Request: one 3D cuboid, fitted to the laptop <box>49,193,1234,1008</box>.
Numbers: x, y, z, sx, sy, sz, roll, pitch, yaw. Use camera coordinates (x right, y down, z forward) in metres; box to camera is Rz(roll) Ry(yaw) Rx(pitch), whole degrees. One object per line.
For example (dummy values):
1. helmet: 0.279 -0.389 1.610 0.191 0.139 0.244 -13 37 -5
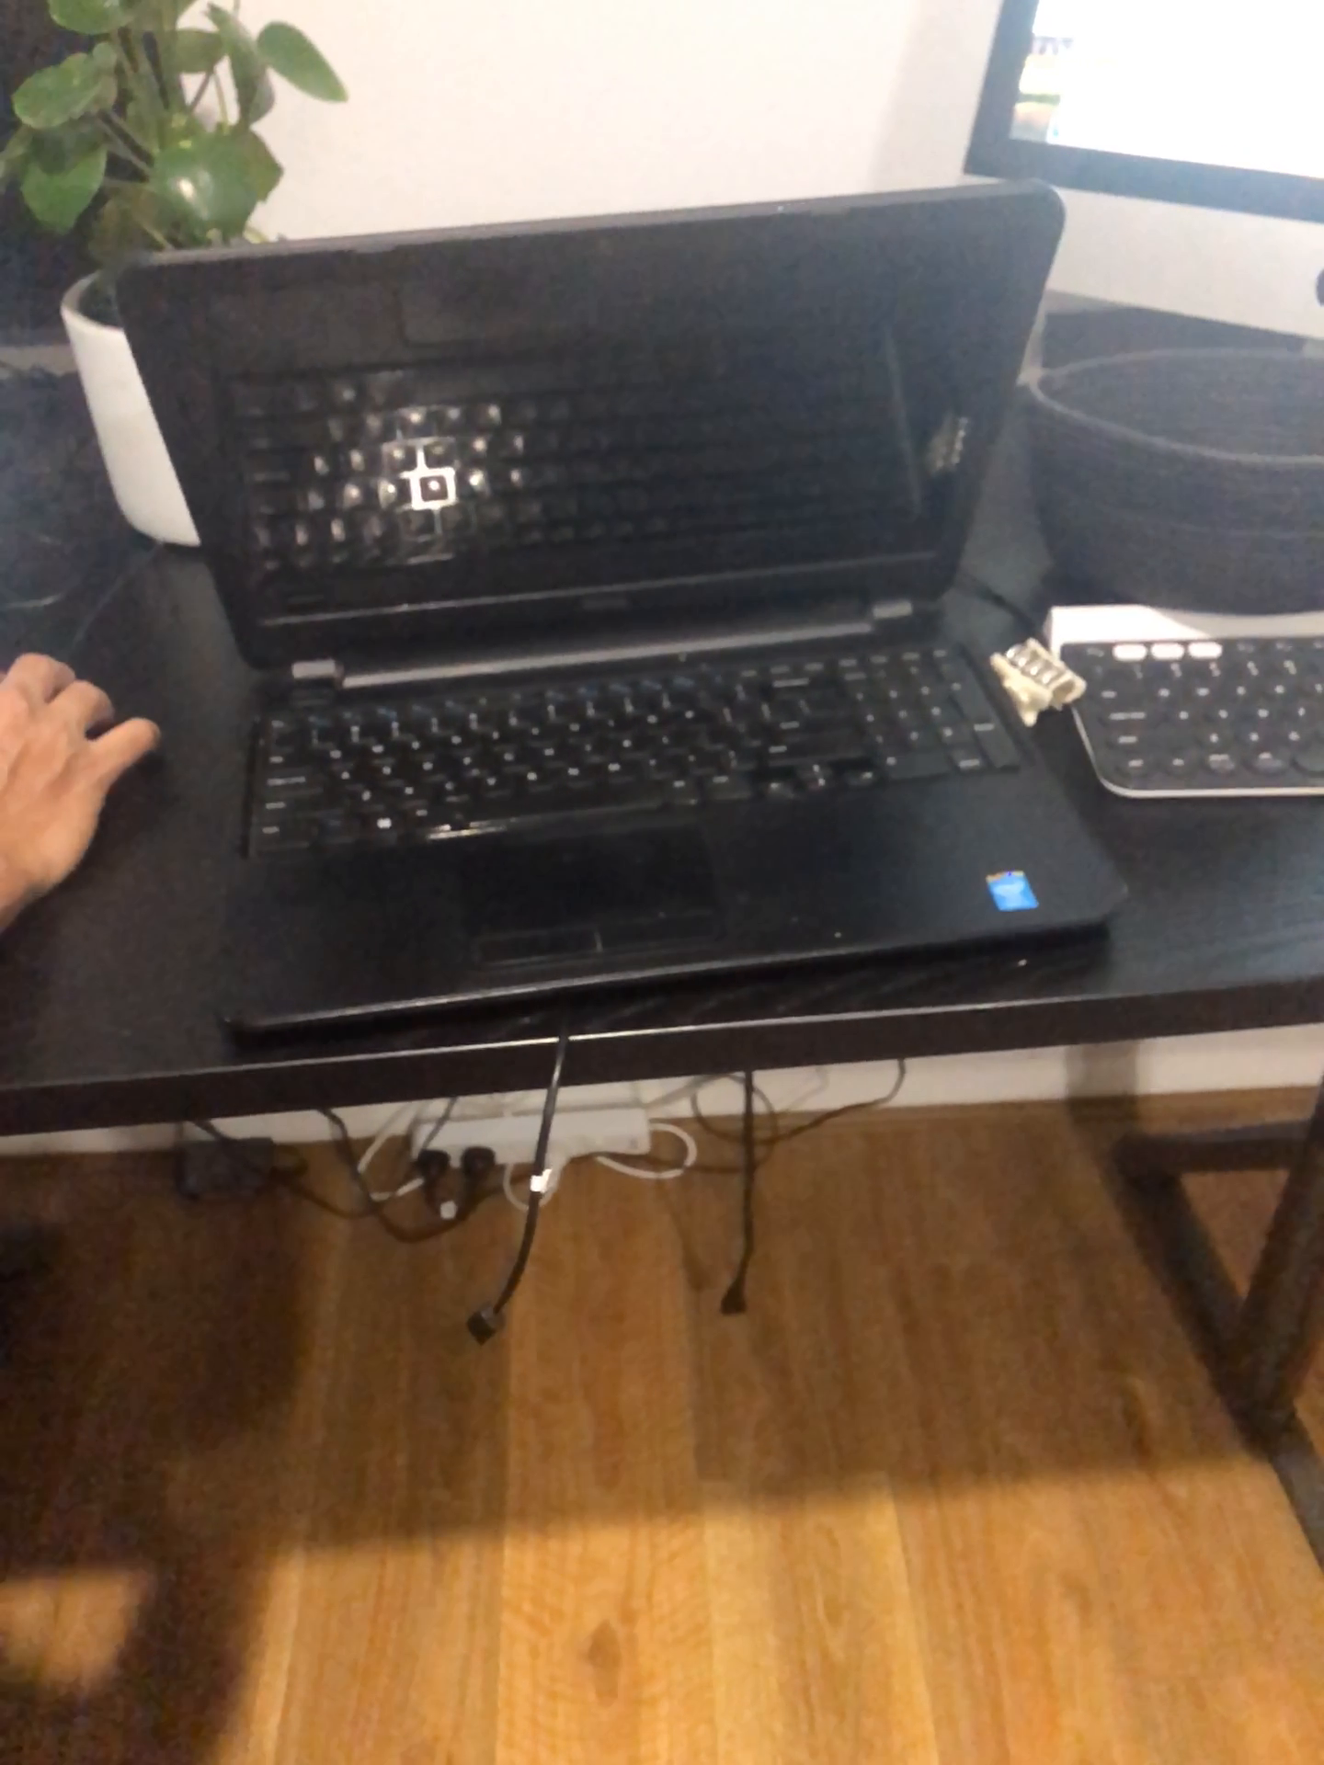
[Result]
1. laptop: -0.017 -0.119 0.591 0.366 0.210 0.207 -6 41 -4
